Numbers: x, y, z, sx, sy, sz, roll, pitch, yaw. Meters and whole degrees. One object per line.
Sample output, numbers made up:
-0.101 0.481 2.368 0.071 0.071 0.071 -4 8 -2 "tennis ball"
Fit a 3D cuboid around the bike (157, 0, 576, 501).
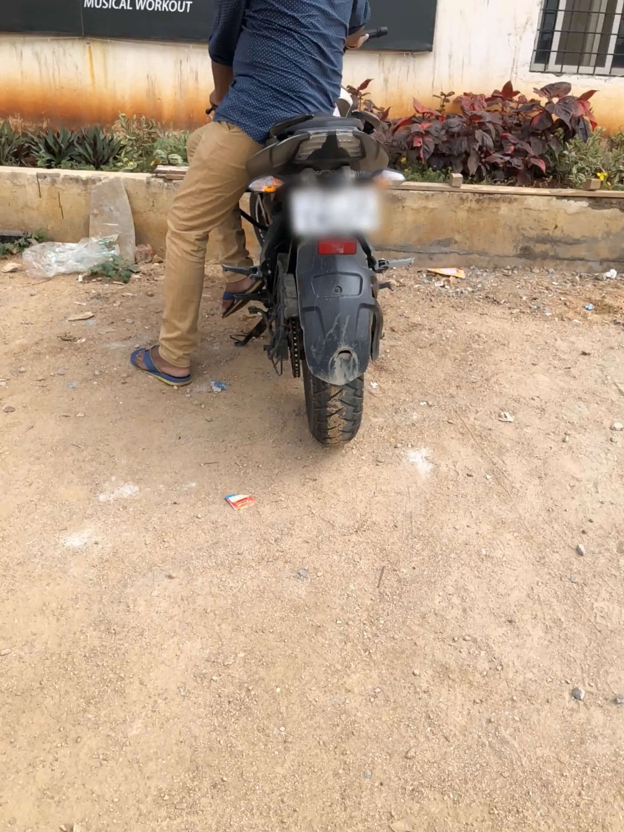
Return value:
-0.074 -0.779 2.329 0.779 1.122 1.858 -3 30 -12 "bike"
